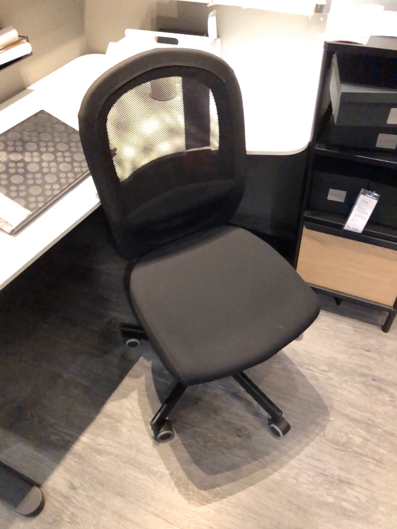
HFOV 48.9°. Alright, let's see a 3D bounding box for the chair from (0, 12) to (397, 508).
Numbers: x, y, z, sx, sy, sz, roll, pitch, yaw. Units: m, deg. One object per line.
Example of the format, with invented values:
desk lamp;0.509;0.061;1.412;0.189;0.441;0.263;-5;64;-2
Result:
chair;0.035;-0.022;1.141;0.631;0.884;0.713;-26;50;-21
